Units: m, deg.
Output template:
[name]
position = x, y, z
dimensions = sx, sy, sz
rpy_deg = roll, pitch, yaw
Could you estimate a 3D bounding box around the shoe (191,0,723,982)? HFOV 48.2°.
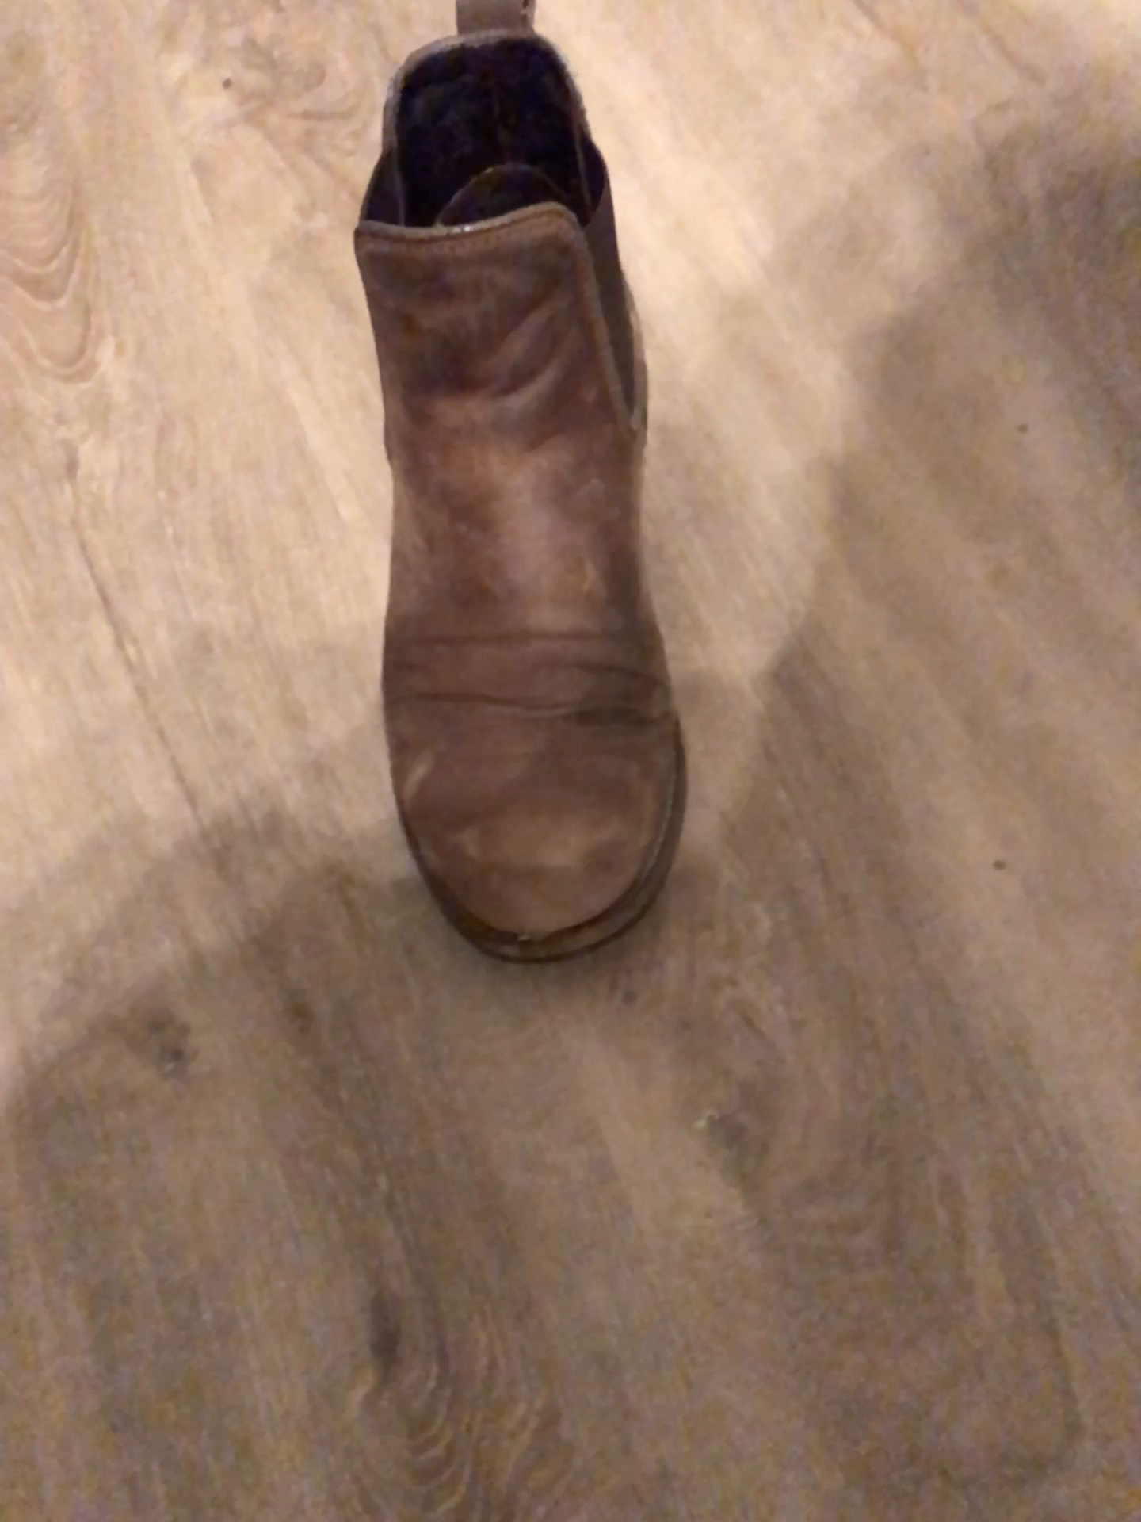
[shoe]
position = -0.019, -0.078, 0.350
dimensions = 0.100, 0.140, 0.240
rpy_deg = -4, 66, 4
